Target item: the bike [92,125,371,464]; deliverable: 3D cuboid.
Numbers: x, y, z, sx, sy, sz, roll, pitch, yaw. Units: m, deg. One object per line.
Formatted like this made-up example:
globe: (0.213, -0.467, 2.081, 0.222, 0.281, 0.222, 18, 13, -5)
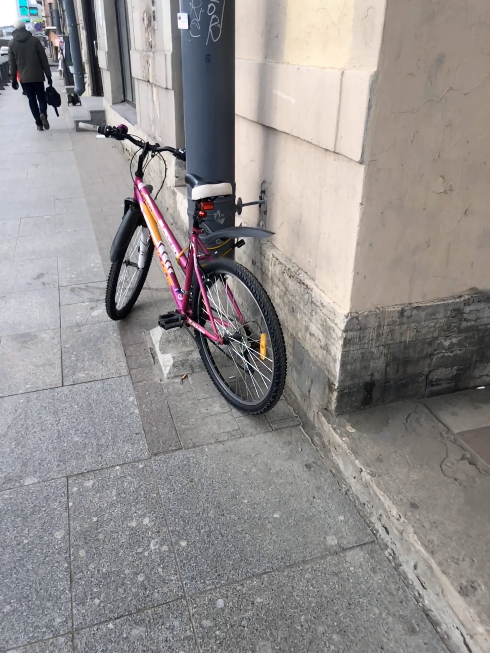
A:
bike: (-0.192, -0.335, 2.449, 0.622, 0.974, 1.582, -12, 28, -23)
